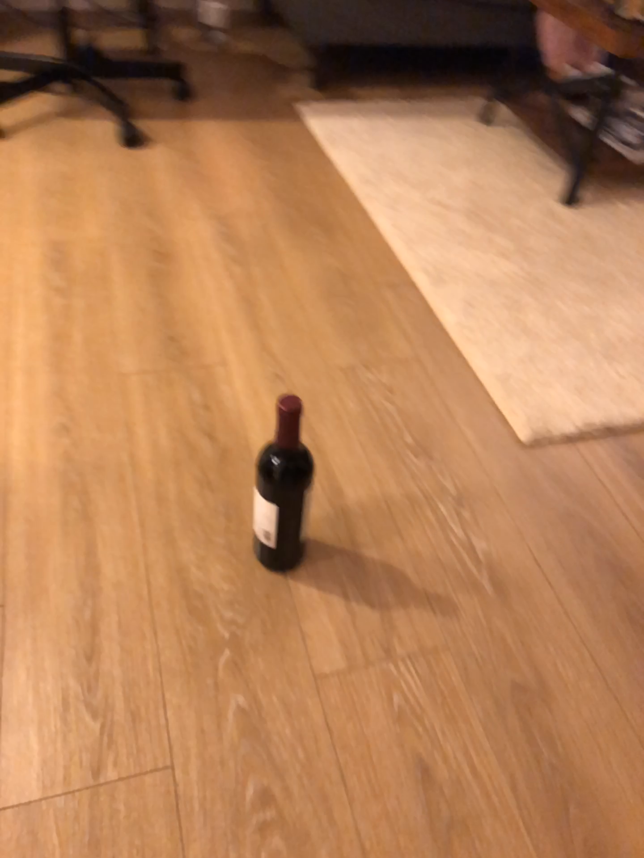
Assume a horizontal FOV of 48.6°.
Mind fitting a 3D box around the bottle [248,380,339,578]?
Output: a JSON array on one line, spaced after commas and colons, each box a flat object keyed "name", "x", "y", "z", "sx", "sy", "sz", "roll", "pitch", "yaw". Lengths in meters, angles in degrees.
[{"name": "bottle", "x": -0.041, "y": 0.073, "z": 0.941, "sx": 0.100, "sy": 0.259, "sz": 0.111, "roll": 4, "pitch": 44, "yaw": -3}]
